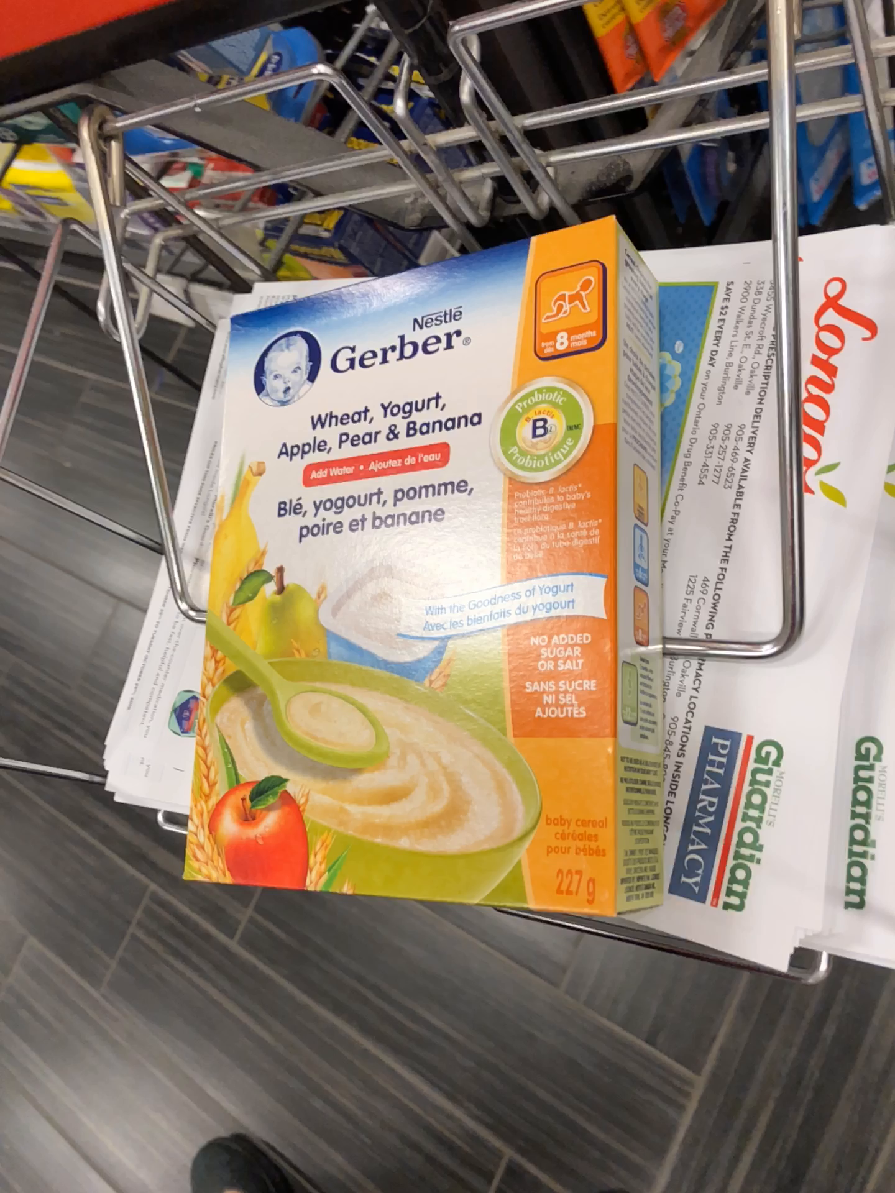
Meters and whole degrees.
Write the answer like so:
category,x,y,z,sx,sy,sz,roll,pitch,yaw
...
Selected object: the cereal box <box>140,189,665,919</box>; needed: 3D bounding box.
category,x,y,z,sx,sy,sz,roll,pitch,yaw
cereal box,-0.013,-0.007,0.317,0.150,0.050,0.200,-6,73,29
